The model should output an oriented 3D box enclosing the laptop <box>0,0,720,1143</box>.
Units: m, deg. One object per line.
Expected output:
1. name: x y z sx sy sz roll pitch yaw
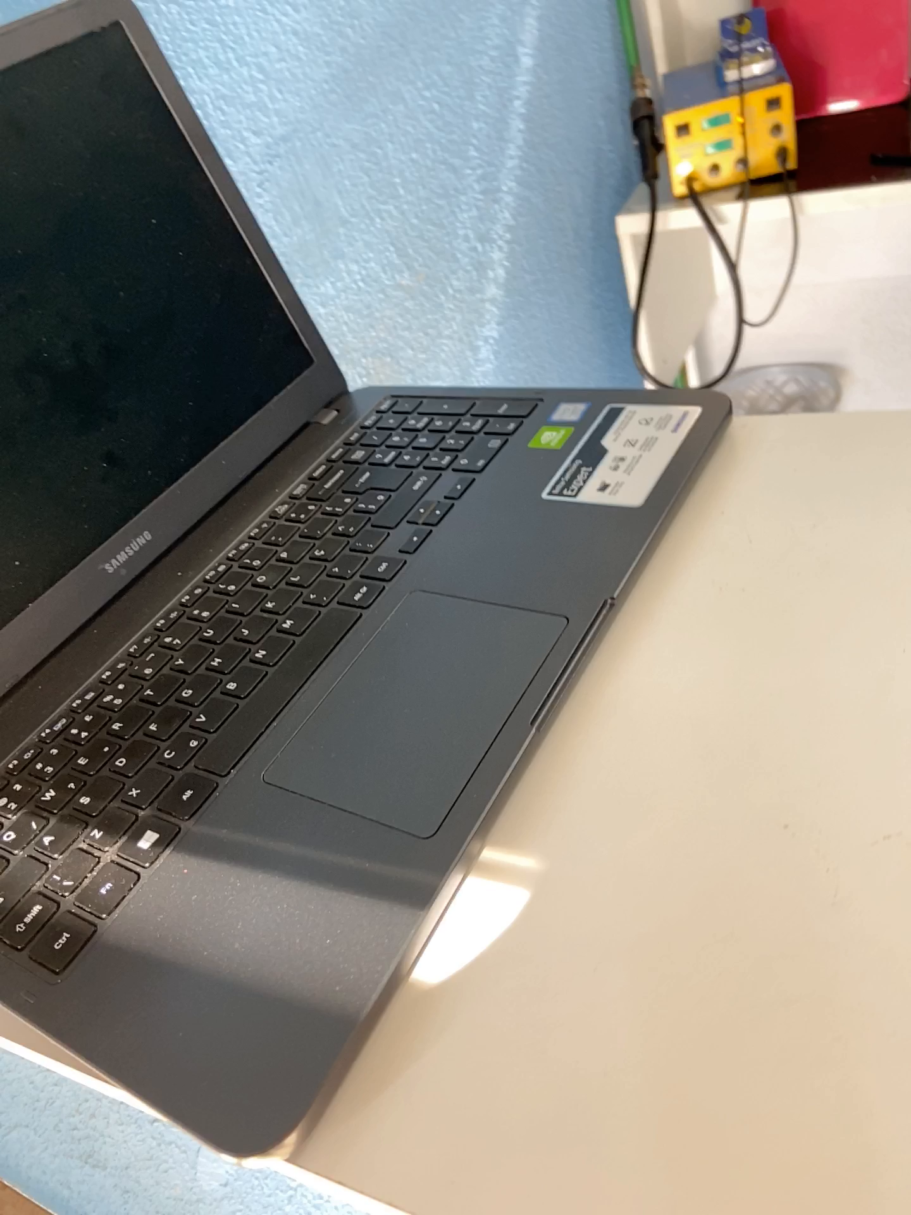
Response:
1. laptop: -0.113 -0.089 0.362 0.287 0.232 0.372 9 46 34
